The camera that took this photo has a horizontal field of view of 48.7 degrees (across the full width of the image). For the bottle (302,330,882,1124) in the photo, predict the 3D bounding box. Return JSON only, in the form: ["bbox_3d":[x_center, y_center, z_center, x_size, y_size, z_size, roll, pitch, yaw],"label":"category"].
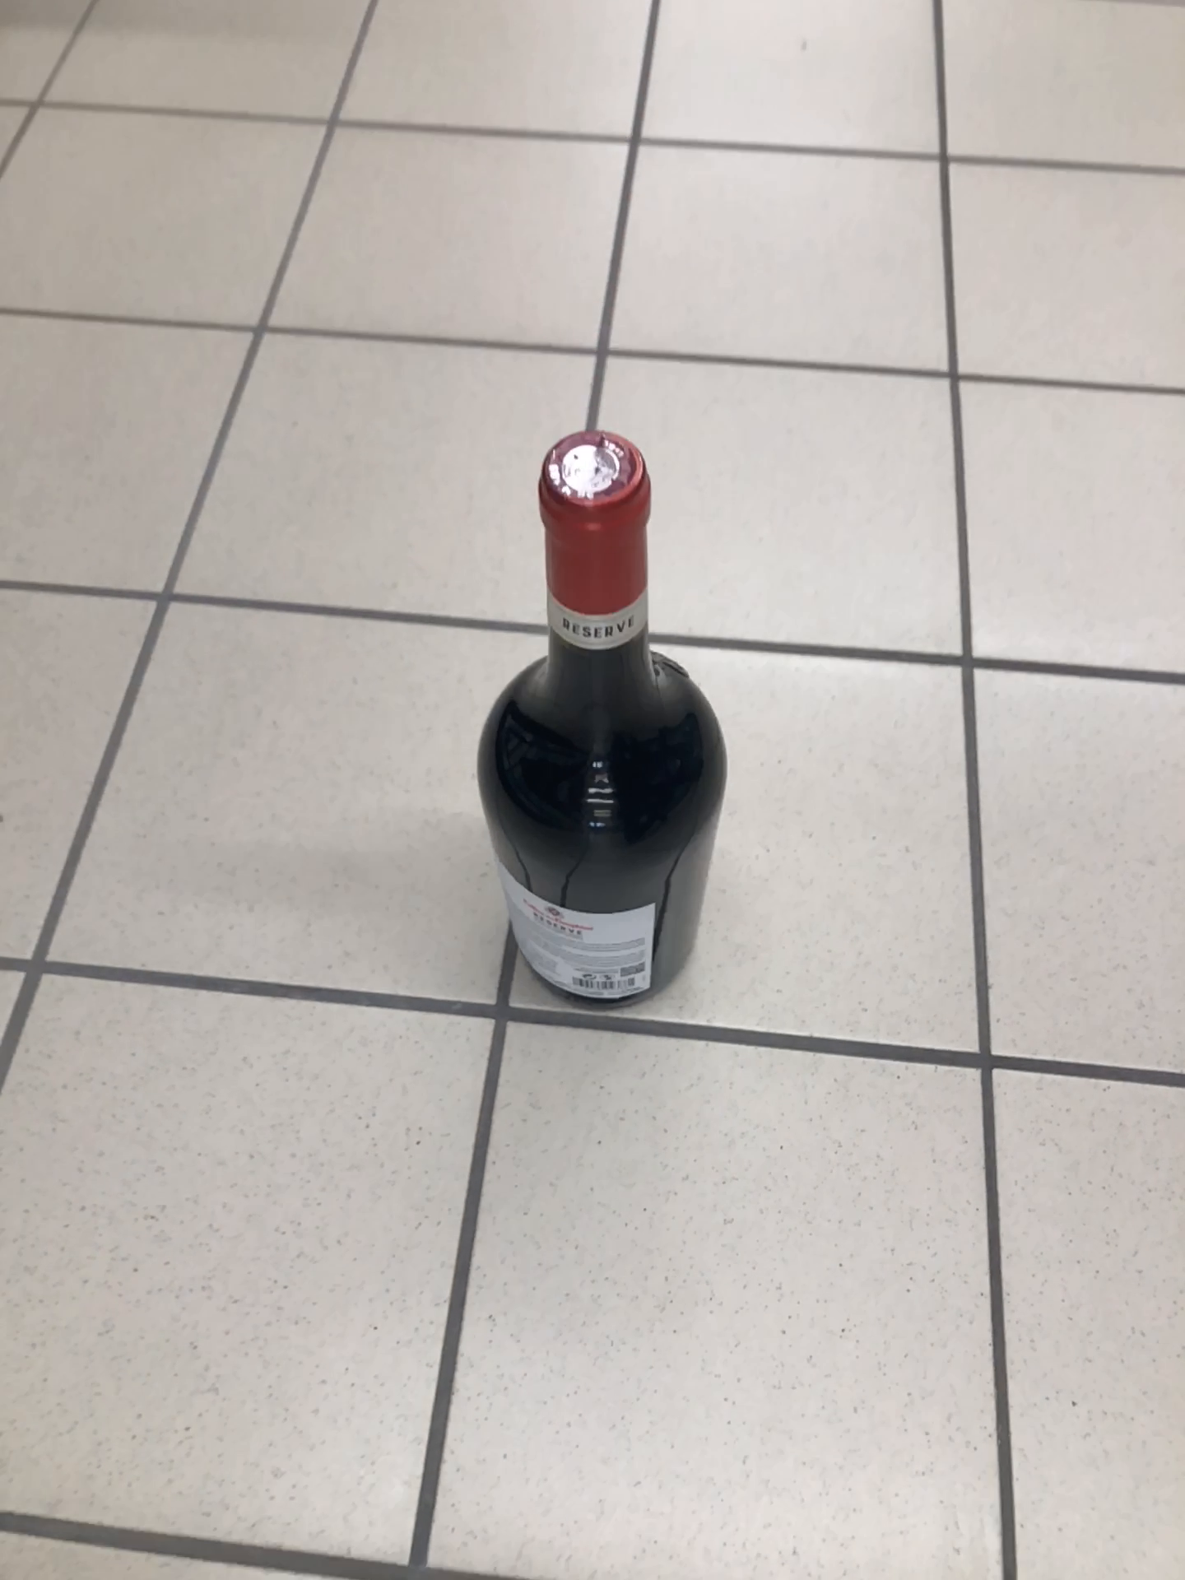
[{"bbox_3d":[0.003,0.002,0.443,0.110,0.269,0.101,0,59,1],"label":"bottle"}]
